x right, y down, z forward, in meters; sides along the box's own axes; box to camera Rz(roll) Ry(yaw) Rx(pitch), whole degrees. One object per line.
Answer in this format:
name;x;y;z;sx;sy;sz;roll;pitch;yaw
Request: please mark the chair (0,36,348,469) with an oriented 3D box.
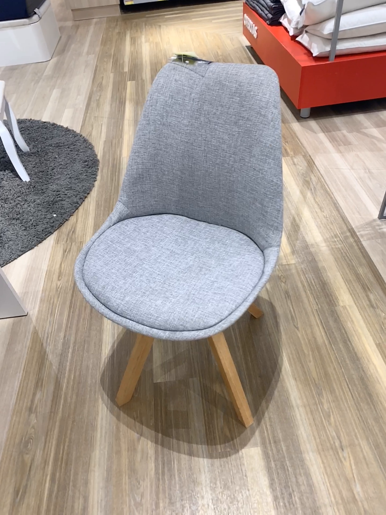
chair;-0.013;0.011;0.979;0.514;0.855;0.517;16;48;22
